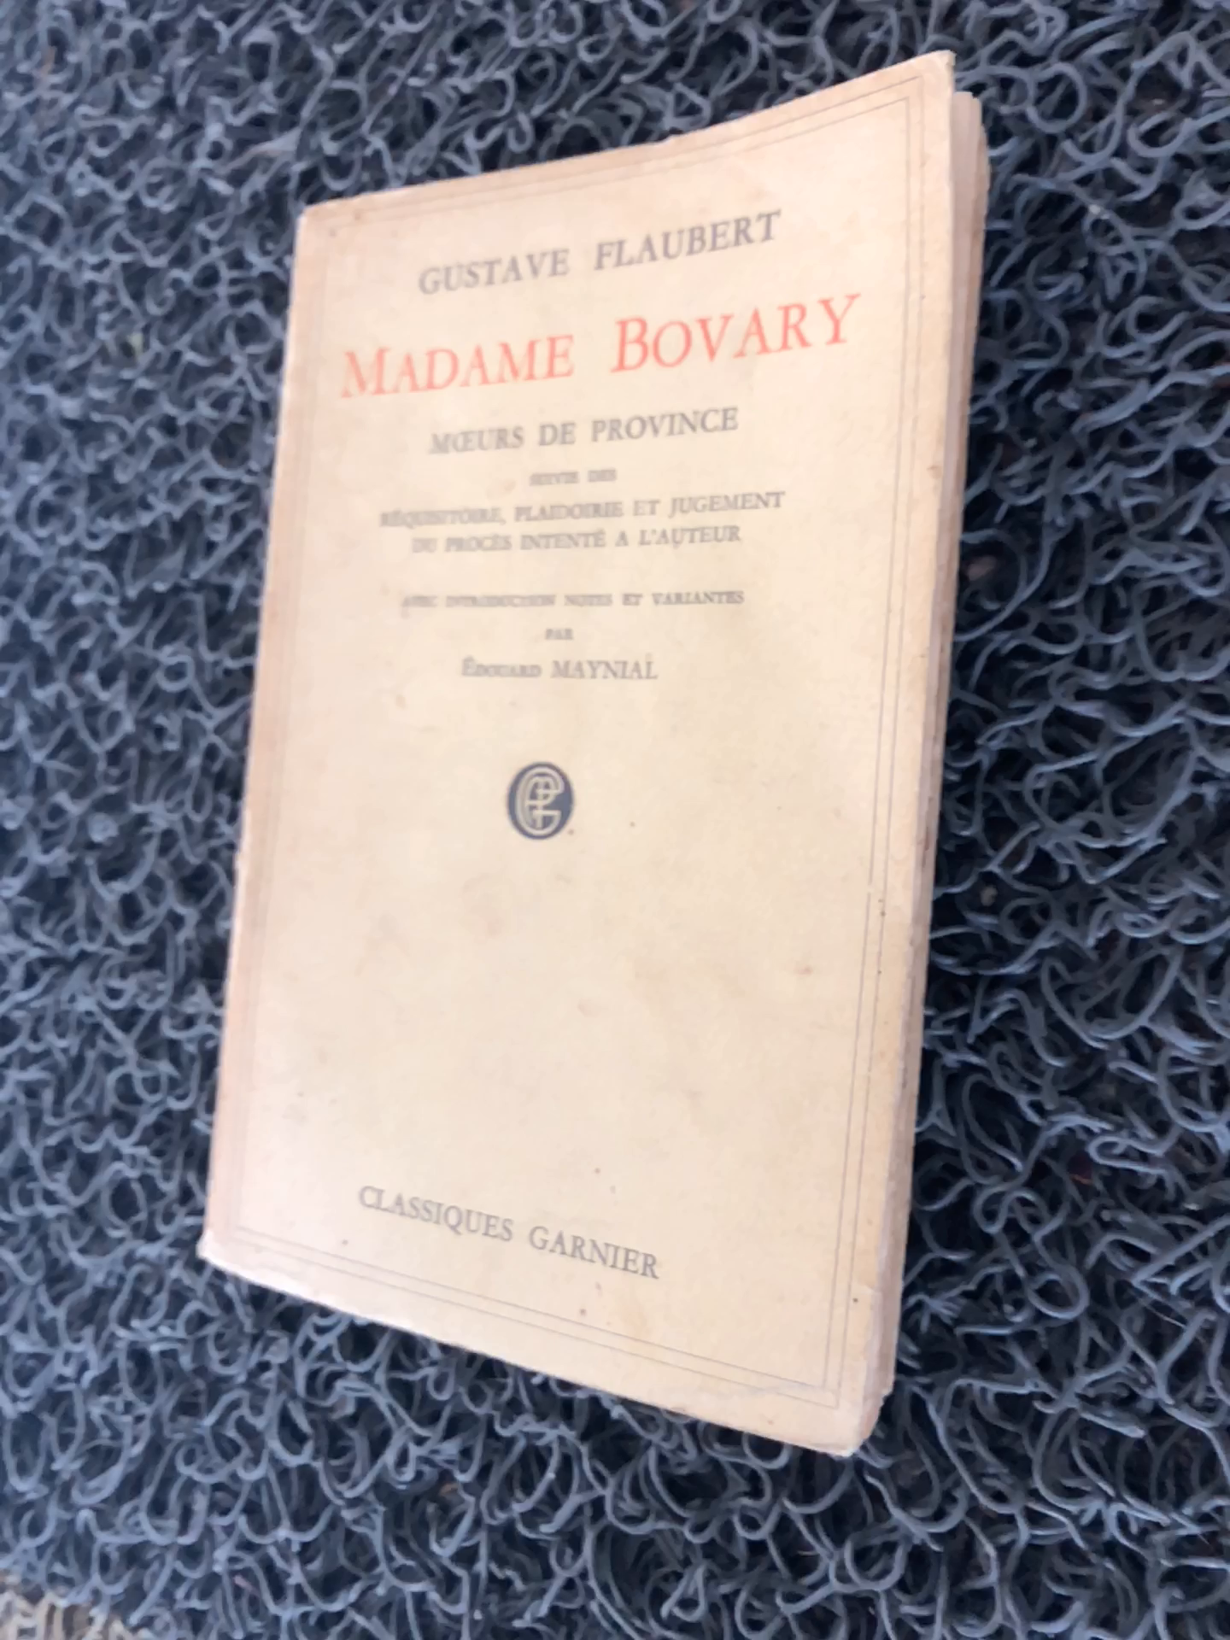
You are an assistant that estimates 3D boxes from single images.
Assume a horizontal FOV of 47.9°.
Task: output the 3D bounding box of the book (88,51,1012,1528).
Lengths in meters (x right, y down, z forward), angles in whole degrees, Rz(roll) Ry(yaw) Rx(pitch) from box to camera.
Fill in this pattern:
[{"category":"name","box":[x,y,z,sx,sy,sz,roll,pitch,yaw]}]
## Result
[{"category":"book","box":[-0.013,-0.008,0.212,0.124,0.035,0.180,4,87,28]}]
